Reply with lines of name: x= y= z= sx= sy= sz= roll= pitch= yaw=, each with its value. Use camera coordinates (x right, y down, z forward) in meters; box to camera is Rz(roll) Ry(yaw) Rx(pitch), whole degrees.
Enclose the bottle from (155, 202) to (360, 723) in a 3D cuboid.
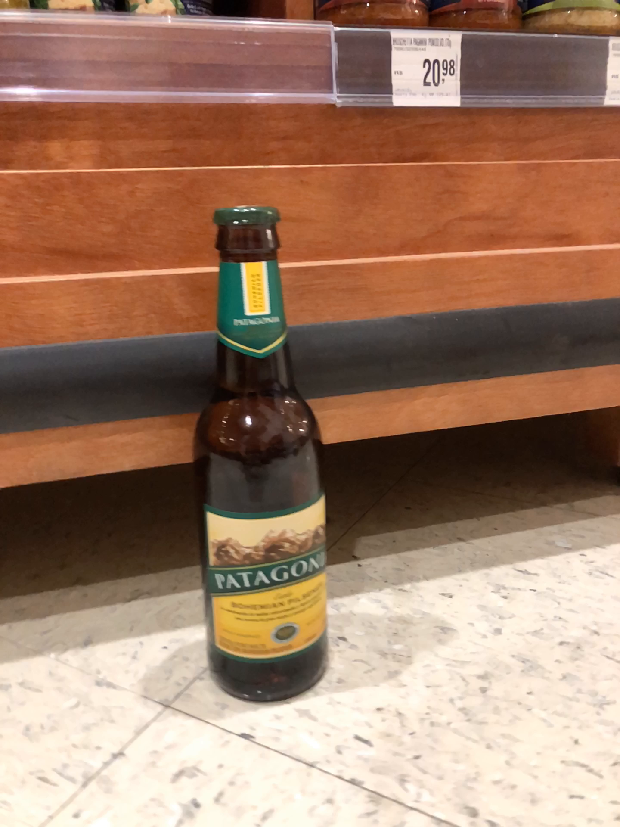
bottle: x=-0.022 y=0.021 z=0.309 sx=0.070 sy=0.219 sz=0.060 roll=-6 pitch=18 yaw=-14
